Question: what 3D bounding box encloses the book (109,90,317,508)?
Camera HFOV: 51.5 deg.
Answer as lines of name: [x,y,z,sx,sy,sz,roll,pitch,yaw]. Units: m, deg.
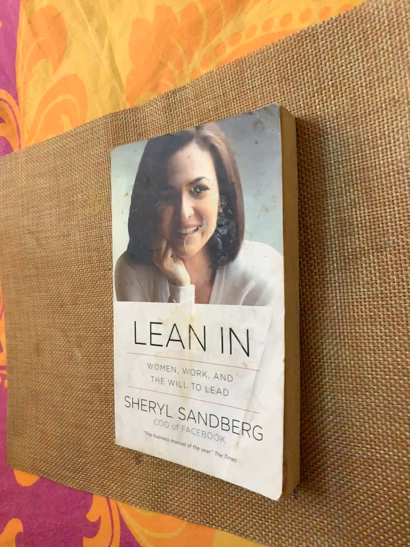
book: [-0.004,0.013,0.269,0.141,0.026,0.212,-2,87,37]
